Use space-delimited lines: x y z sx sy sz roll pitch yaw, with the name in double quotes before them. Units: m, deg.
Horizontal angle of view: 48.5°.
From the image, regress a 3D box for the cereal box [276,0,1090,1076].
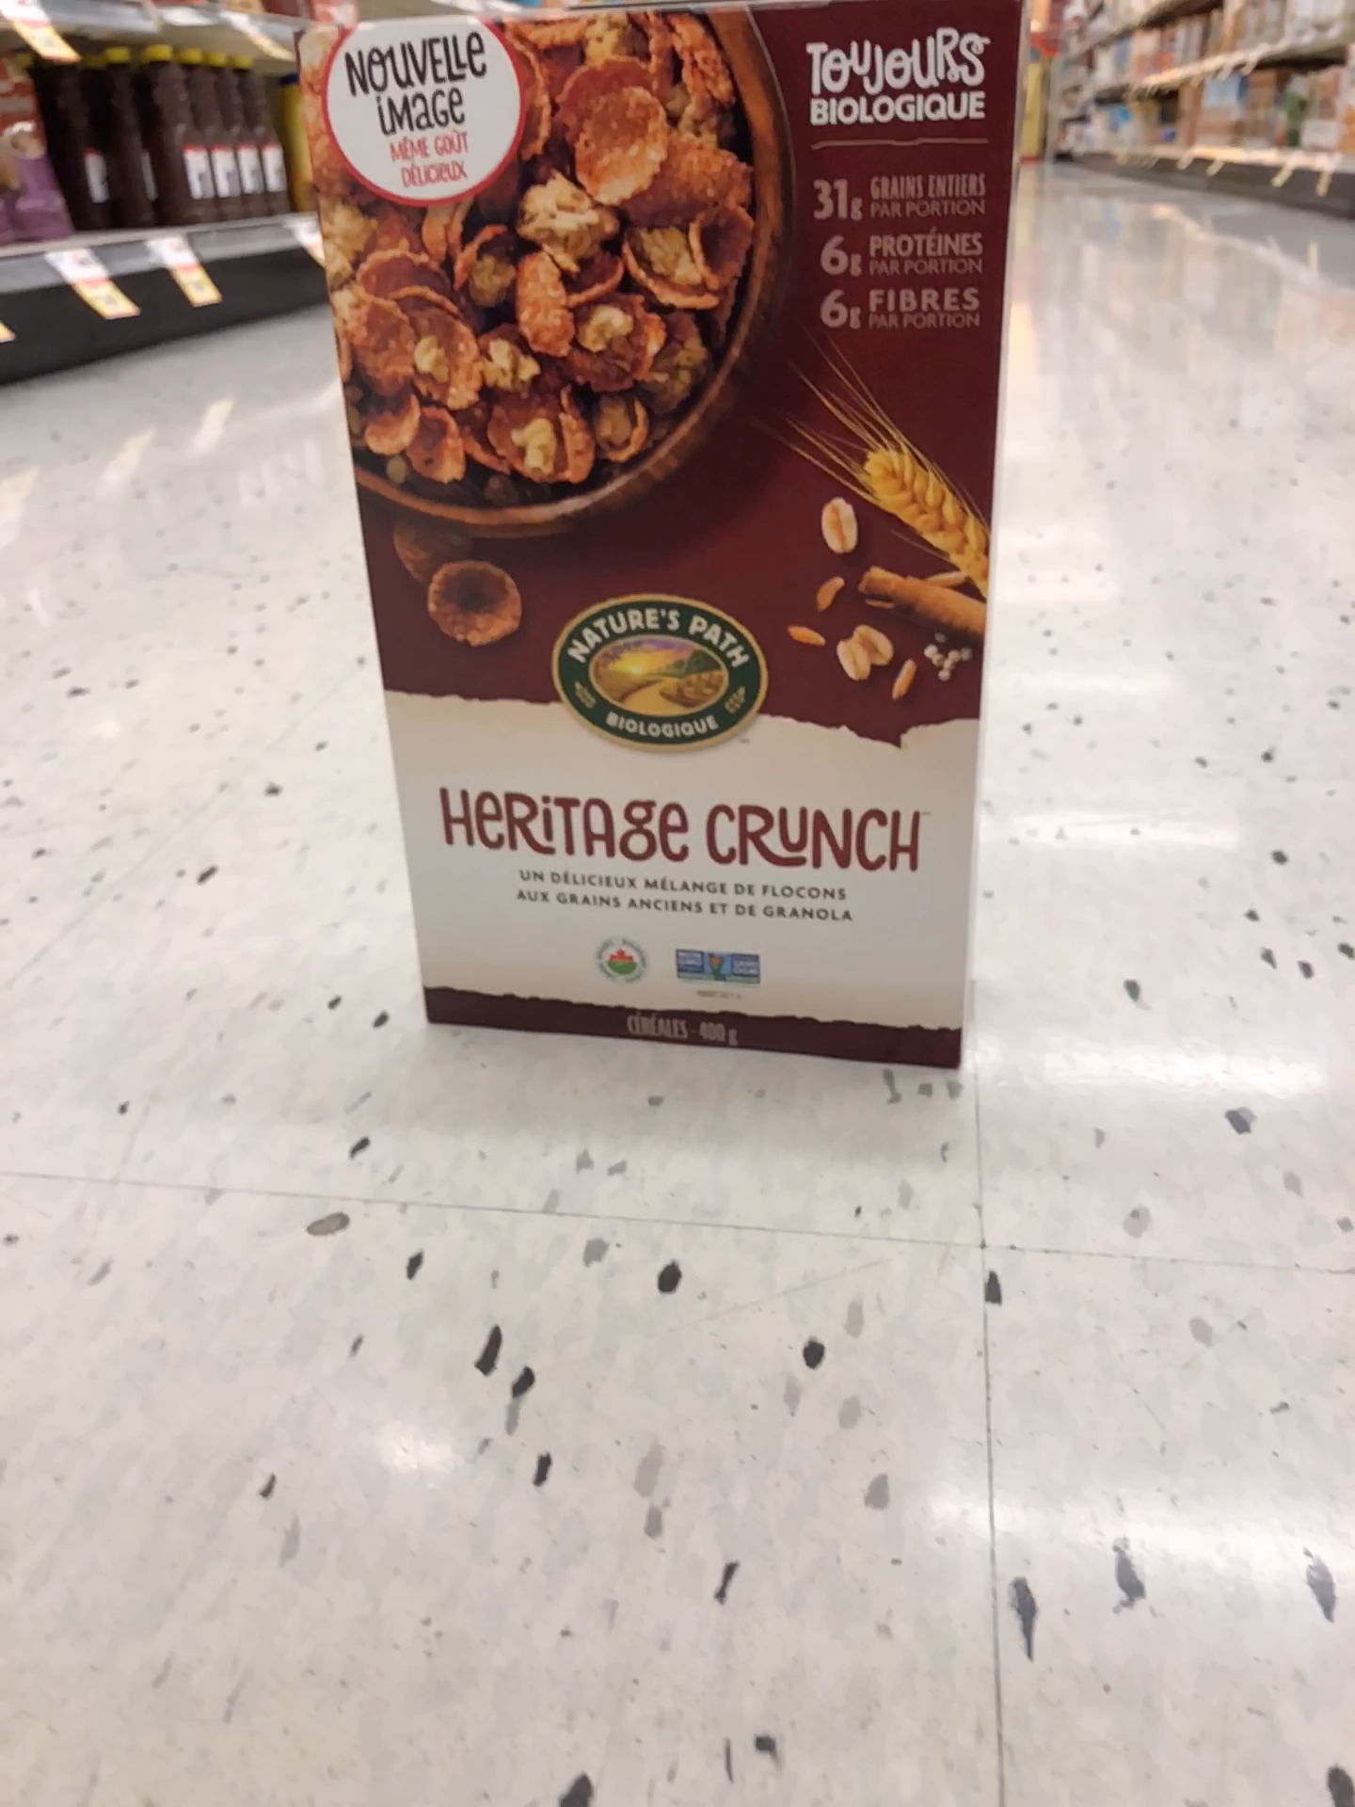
"cereal box" 0.007 -0.084 0.388 0.170 0.249 0.060 3 27 12
